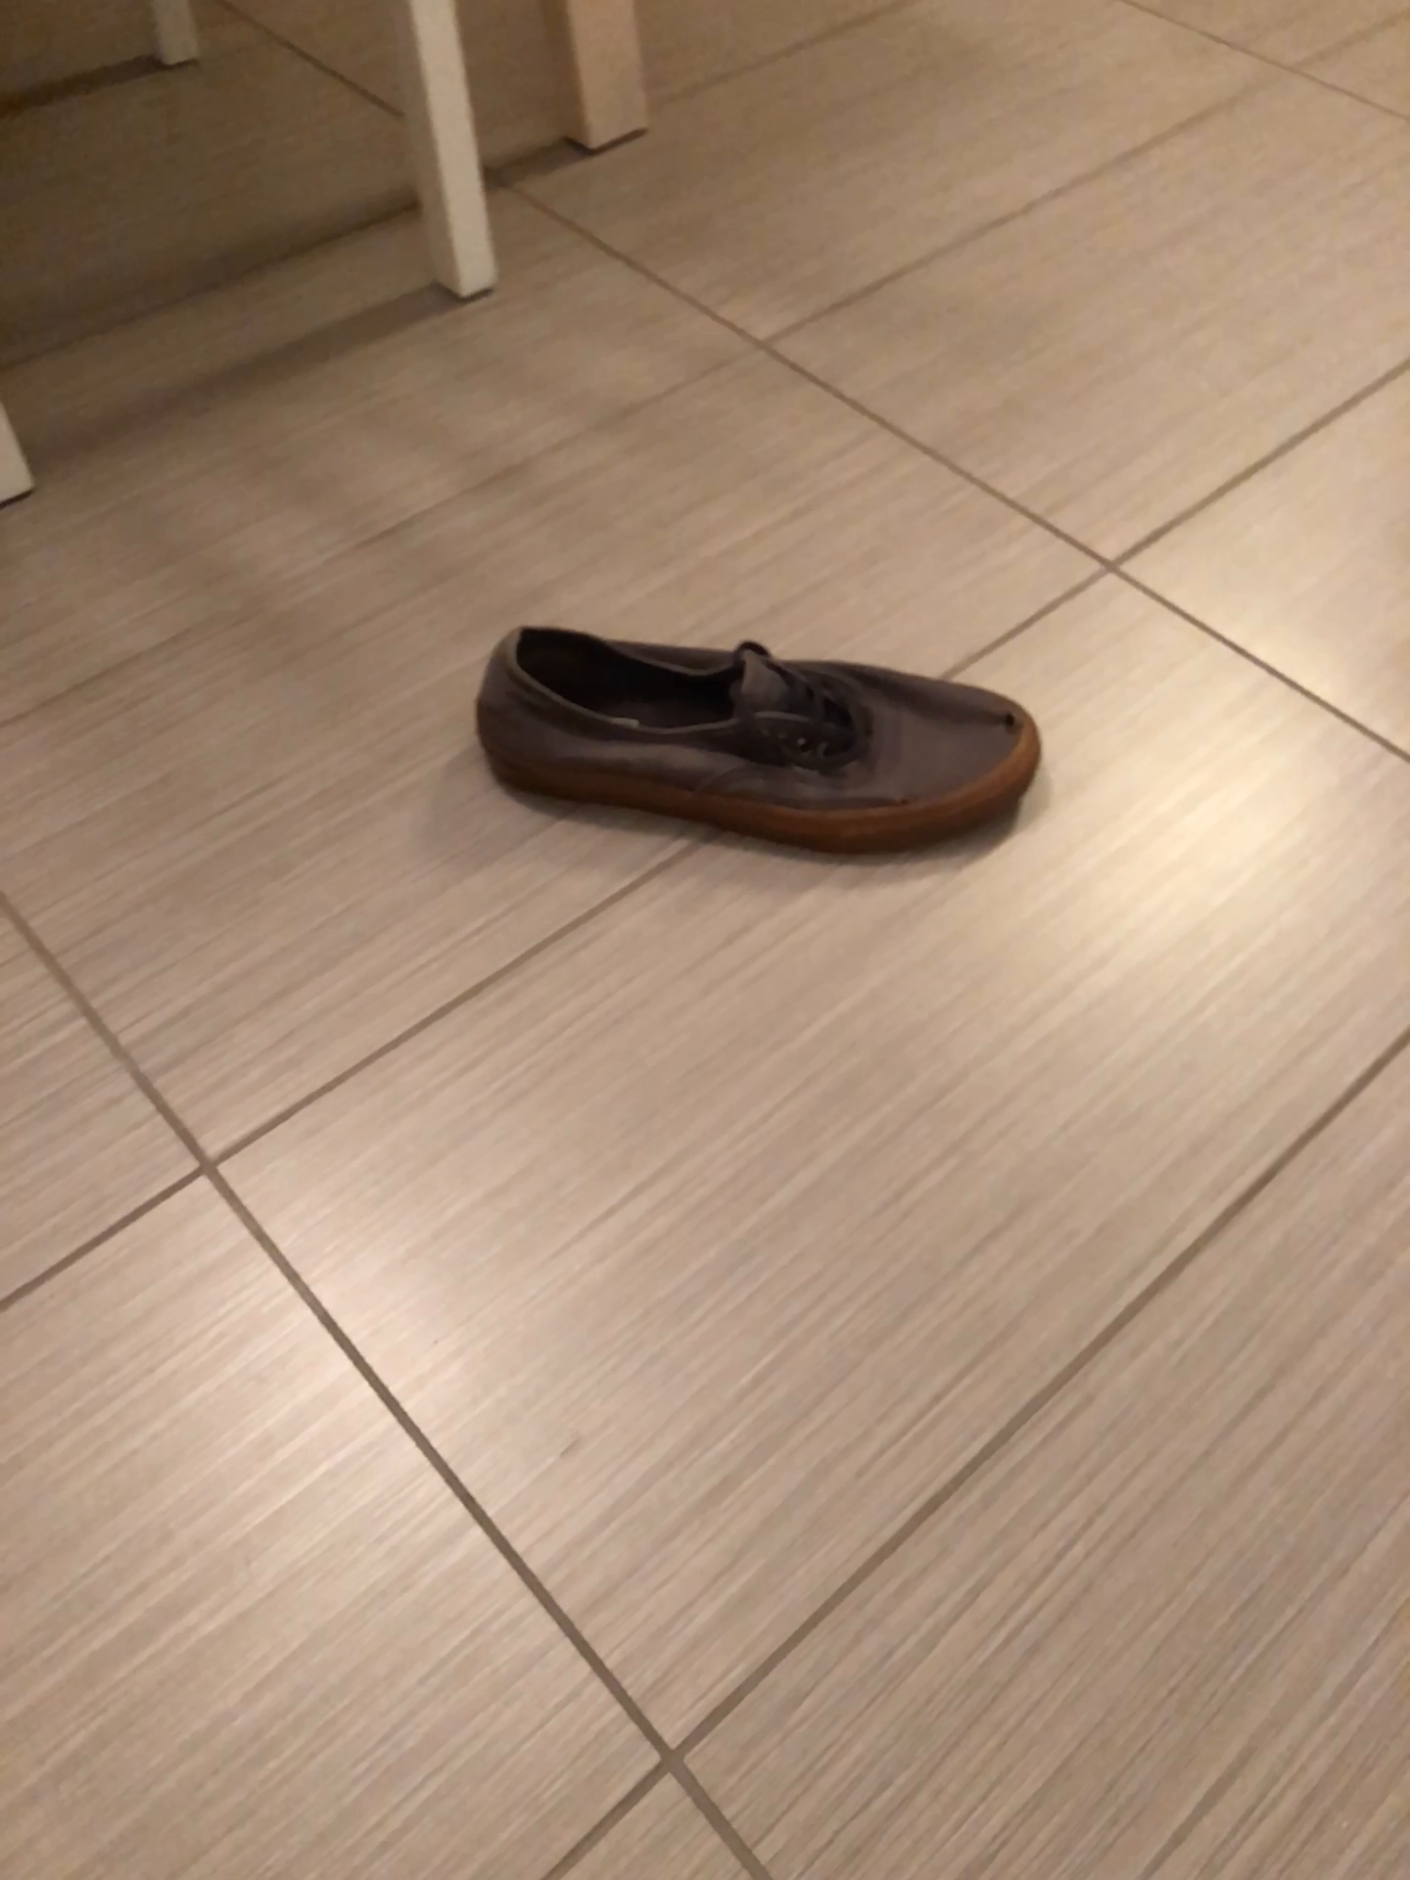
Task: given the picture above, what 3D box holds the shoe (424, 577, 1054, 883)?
[{"bbox_3d":[0.020,-0.106,0.772,0.290,0.060,0.111,7,53,5],"label":"shoe"}]
